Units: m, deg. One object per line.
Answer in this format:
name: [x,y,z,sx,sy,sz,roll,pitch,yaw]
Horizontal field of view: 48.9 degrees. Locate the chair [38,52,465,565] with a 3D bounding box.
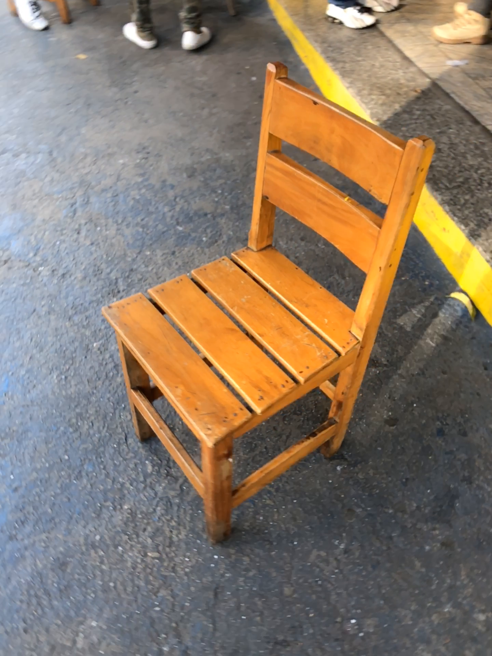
chair: [-0.007,0.003,1.040,0.441,0.805,0.402,-27,53,-25]
